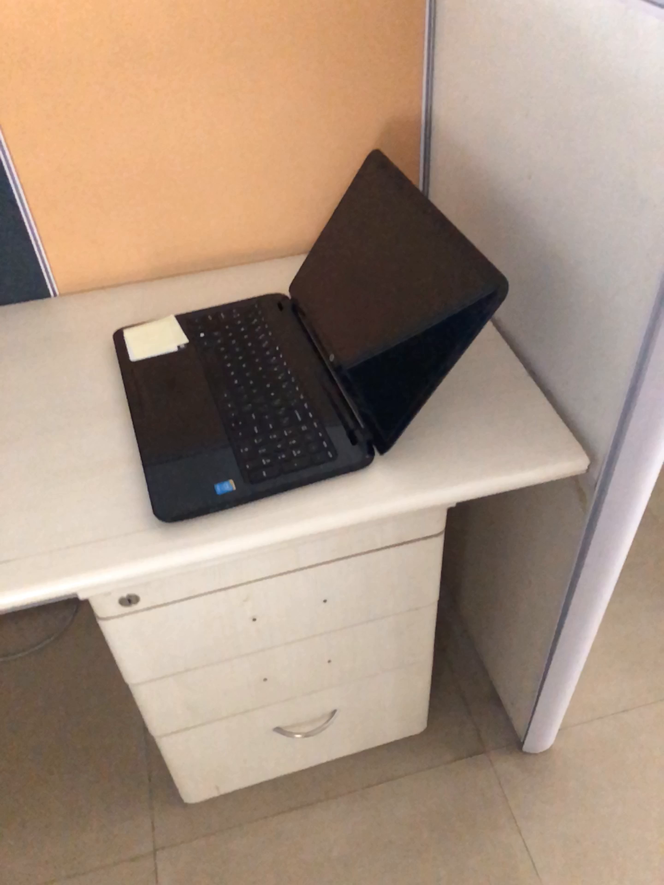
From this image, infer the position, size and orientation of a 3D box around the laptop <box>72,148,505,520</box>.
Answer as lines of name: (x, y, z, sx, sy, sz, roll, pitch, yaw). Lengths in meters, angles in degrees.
laptop: (-0.073, -0.167, 0.927, 0.416, 0.204, 0.393, -15, 45, -12)
